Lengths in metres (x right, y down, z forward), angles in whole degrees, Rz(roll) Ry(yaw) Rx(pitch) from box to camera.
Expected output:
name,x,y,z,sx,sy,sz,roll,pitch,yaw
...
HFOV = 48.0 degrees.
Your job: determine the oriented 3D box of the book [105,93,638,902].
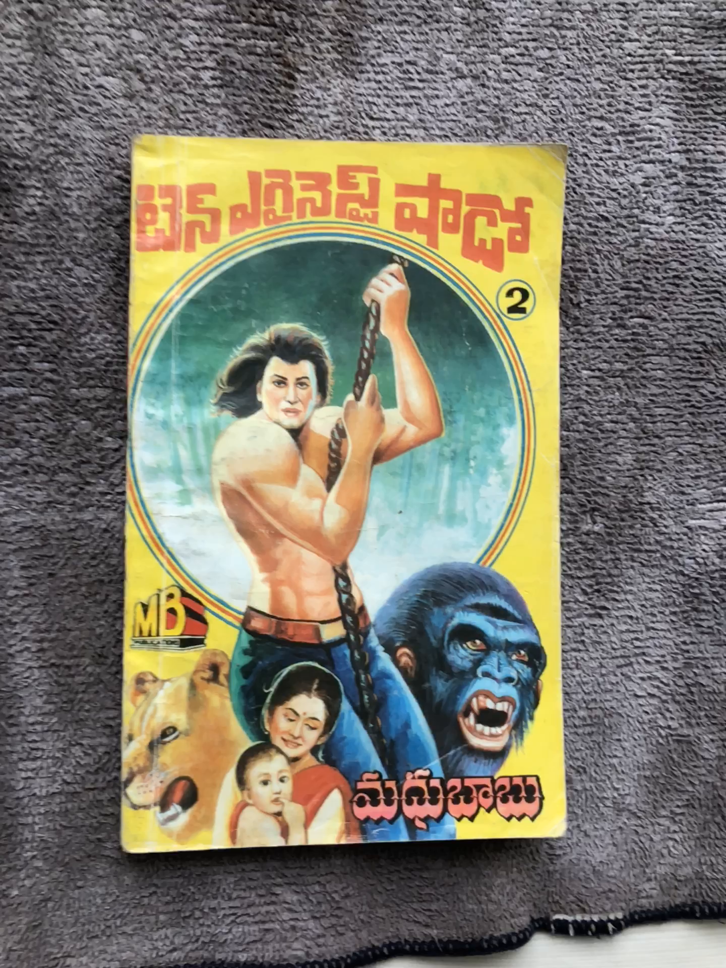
name,x,y,z,sx,sy,sz,roll,pitch,yaw
book,0.002,0.001,0.179,0.110,0.020,0.160,0,87,-9
